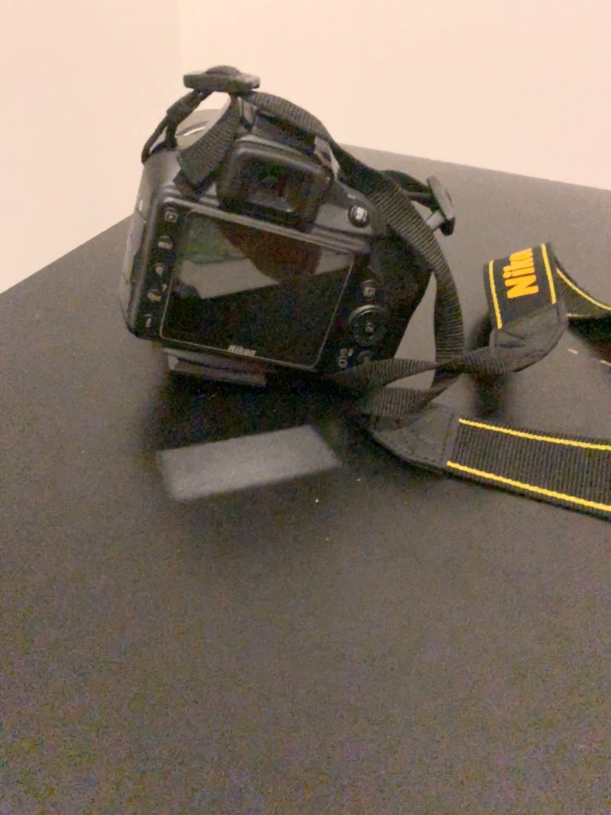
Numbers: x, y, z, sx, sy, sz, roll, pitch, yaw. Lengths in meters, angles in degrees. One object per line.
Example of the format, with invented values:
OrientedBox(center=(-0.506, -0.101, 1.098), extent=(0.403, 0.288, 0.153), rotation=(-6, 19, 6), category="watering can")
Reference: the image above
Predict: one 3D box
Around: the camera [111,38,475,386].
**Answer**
OrientedBox(center=(-0.029, -0.114, 0.326), extent=(0.116, 0.089, 0.221), rotation=(10, 29, -21), category="camera")
